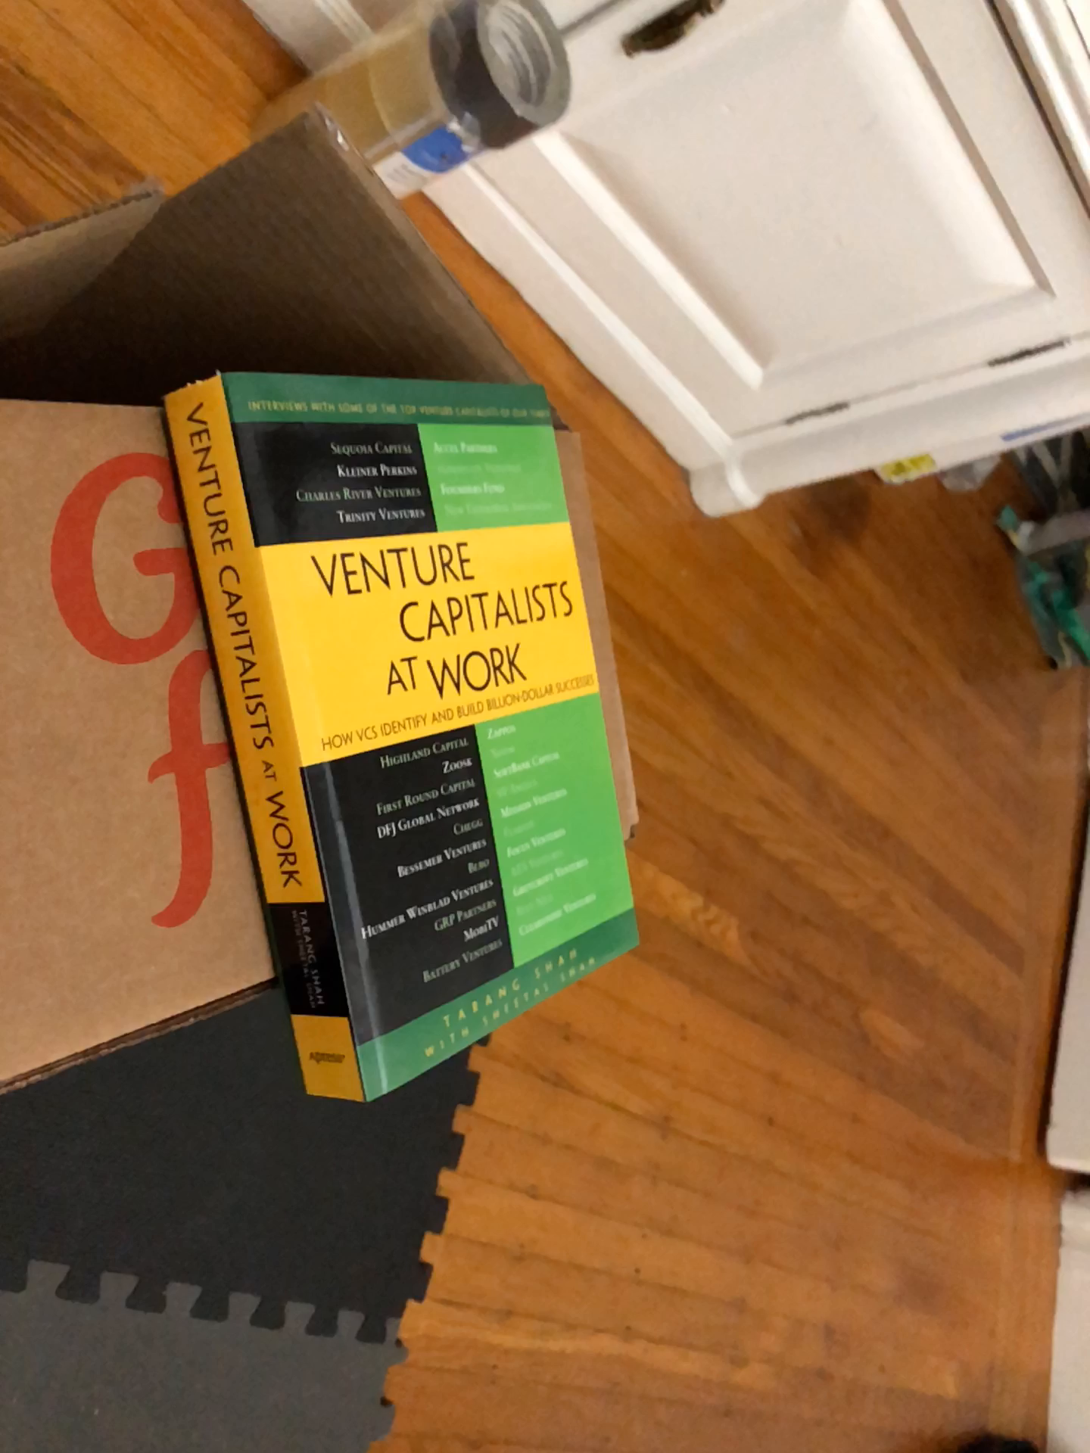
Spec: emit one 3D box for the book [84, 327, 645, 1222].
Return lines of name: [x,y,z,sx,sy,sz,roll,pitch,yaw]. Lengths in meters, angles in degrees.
book: [-0.048,0.005,0.416,0.161,0.040,0.260,-16,98,-49]
